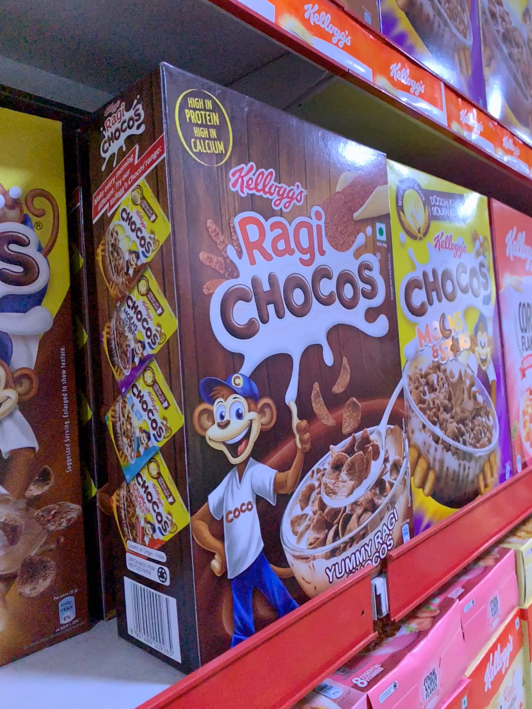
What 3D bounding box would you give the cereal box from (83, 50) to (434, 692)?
[{"bbox_3d":[0.010,0.002,0.292,0.060,0.240,0.180,-5,-1,44],"label":"cereal box"}]
